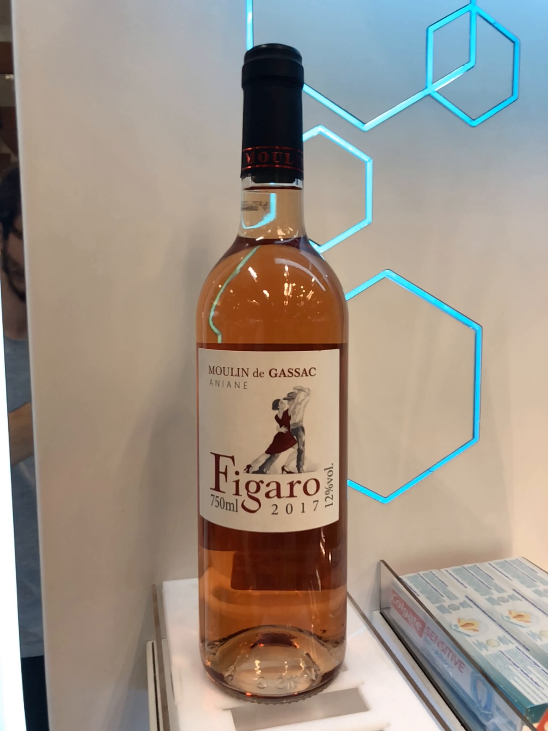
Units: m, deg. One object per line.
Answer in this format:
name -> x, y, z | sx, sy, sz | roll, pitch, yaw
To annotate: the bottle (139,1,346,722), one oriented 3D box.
bottle -> -0.009, 0.001, 0.313 | 0.090, 0.320, 0.080 | 0, 4, 6
